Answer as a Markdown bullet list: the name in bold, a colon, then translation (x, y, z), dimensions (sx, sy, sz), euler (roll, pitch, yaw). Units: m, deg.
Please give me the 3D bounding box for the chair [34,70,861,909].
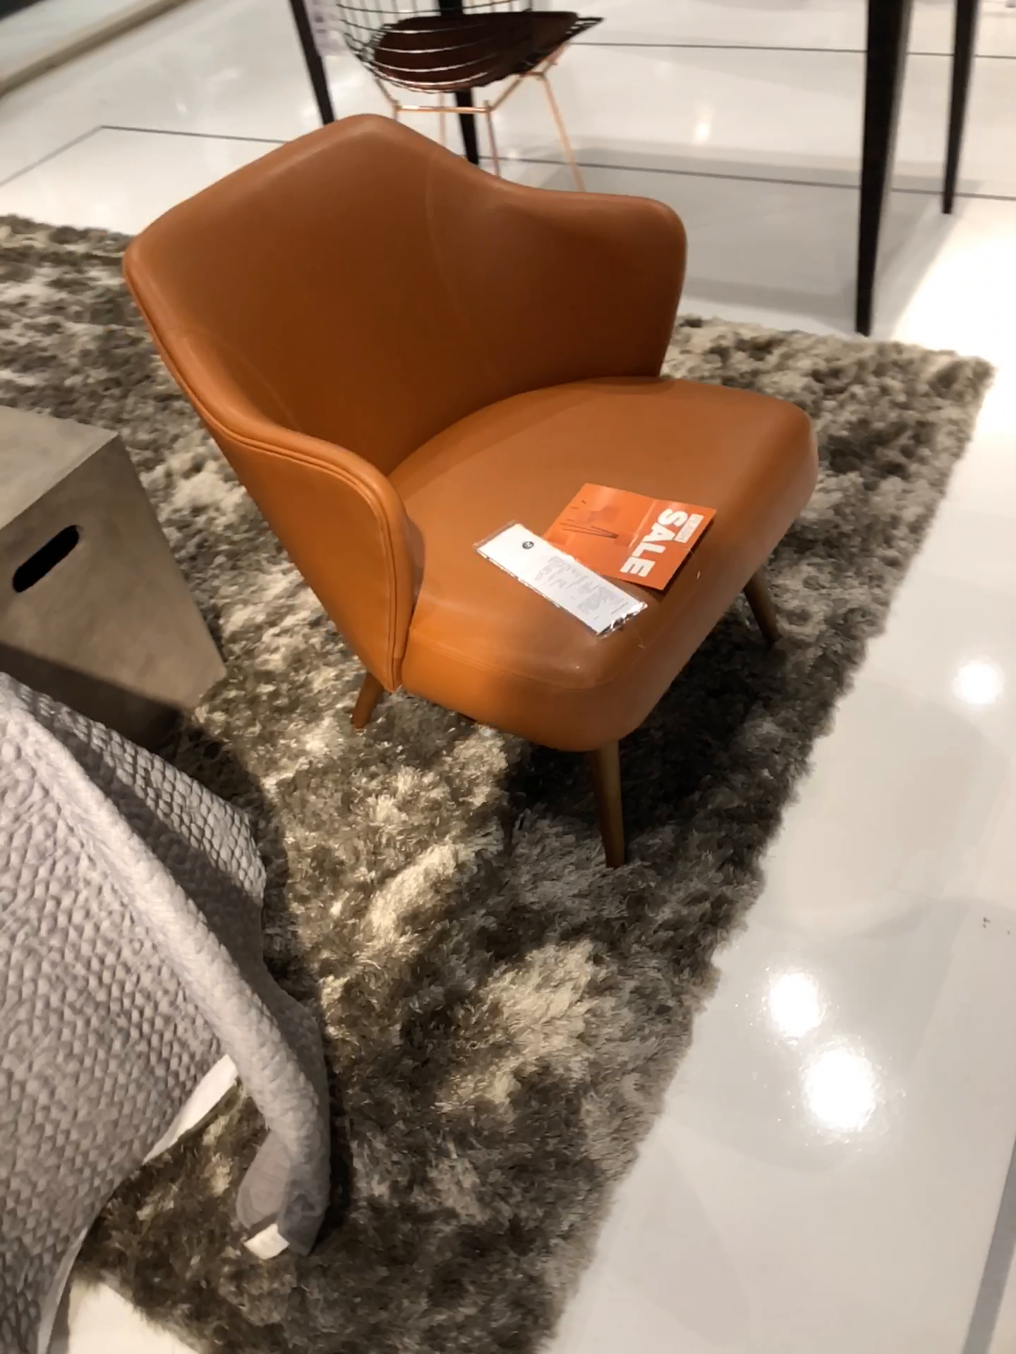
- **chair**: translation (-0.015, -0.262, 1.412), dimensions (0.652, 0.704, 0.593), euler (21, 53, 28)
